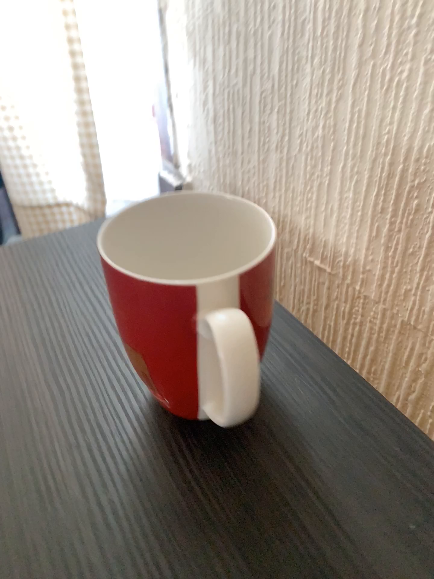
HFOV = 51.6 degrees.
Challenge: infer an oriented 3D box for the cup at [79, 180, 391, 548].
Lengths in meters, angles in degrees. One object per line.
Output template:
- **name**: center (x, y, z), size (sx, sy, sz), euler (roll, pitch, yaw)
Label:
- **cup**: center (-0.004, 0.022, 0.216), size (0.090, 0.089, 0.131), euler (-14, 38, -14)
